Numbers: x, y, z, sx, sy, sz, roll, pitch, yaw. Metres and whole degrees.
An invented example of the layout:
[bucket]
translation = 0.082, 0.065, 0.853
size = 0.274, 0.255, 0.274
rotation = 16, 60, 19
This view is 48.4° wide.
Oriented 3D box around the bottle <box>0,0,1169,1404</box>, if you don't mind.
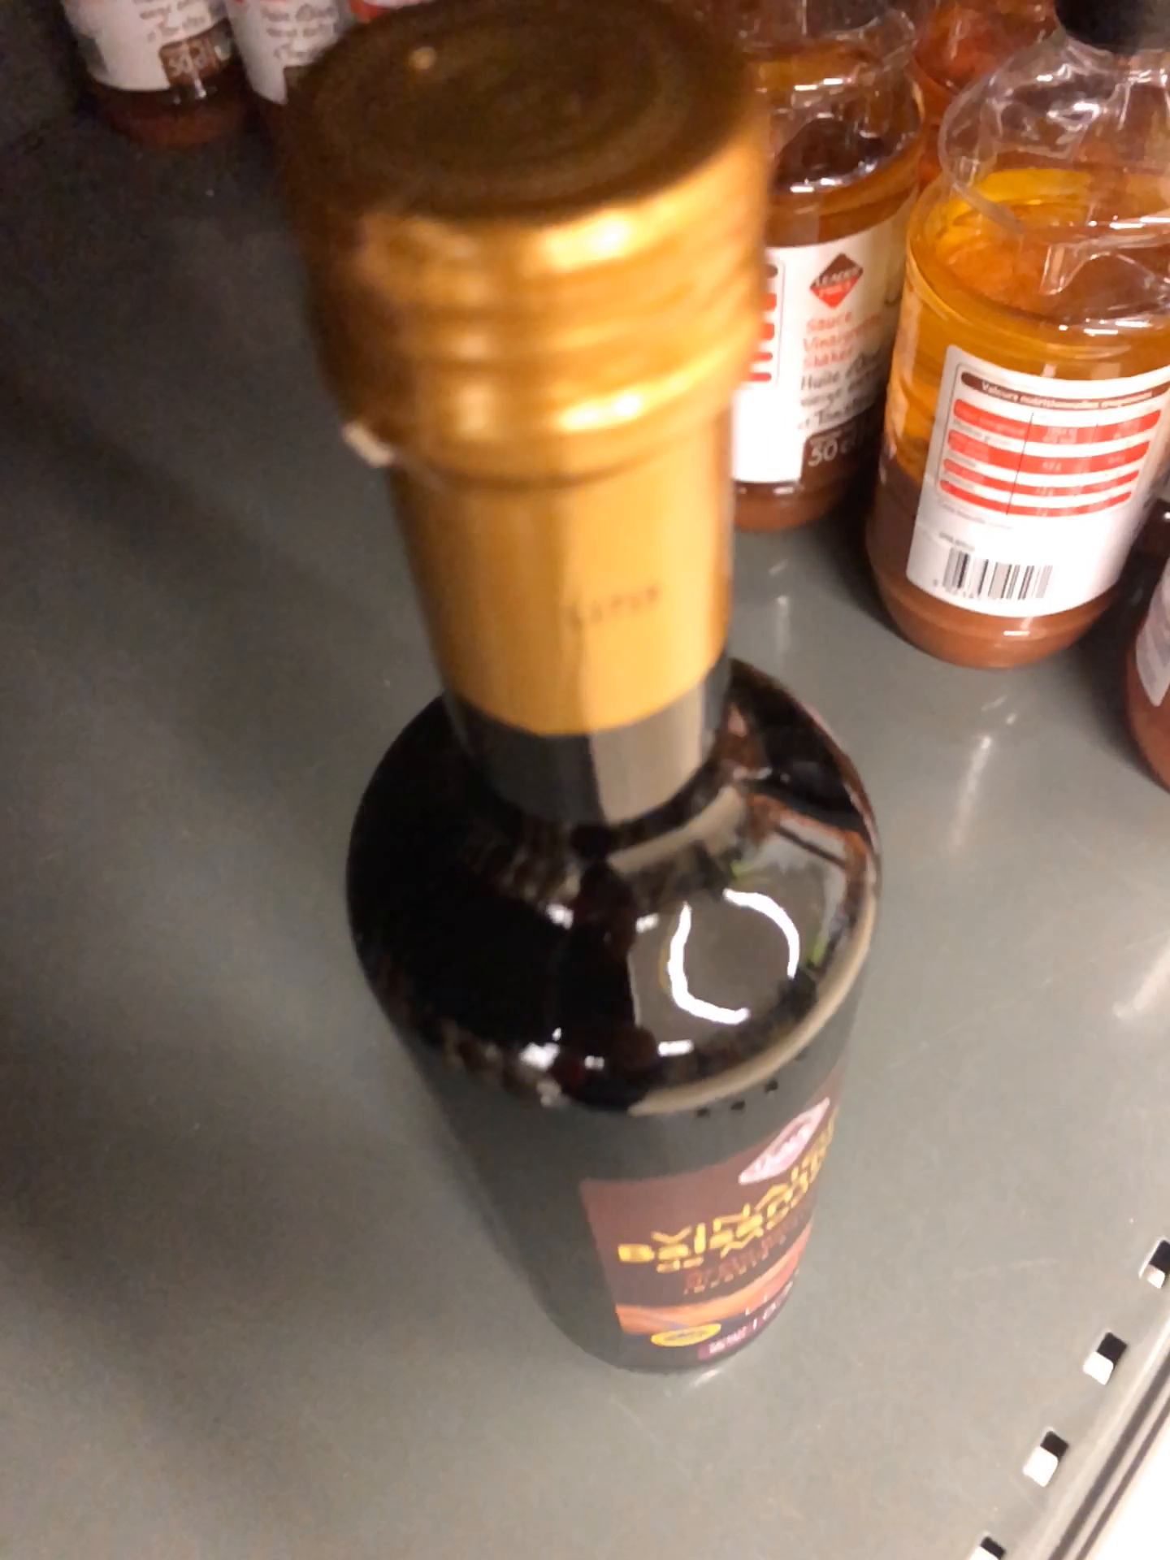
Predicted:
[bottle]
translation = 0.010, 0.017, 0.191
size = 0.070, 0.269, 0.070
rotation = -2, 56, 4
